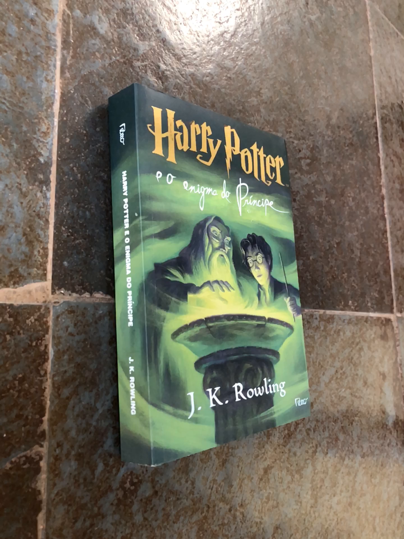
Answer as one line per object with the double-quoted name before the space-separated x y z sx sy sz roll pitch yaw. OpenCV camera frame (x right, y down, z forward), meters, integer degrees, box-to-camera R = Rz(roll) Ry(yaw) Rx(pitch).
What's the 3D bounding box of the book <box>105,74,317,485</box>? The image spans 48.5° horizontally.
"book" 0.012 0.004 0.278 0.143 0.030 0.200 4 80 -44
